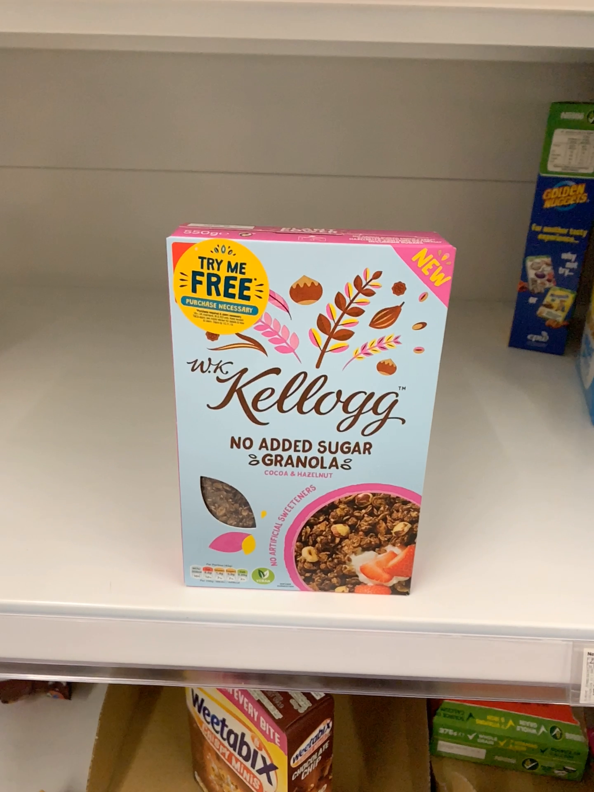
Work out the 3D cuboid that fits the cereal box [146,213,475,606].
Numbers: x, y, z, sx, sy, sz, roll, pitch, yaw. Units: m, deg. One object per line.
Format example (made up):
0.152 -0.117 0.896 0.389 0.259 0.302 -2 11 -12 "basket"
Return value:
0.004 0.018 0.393 0.170 0.248 0.050 2 25 1 "cereal box"
